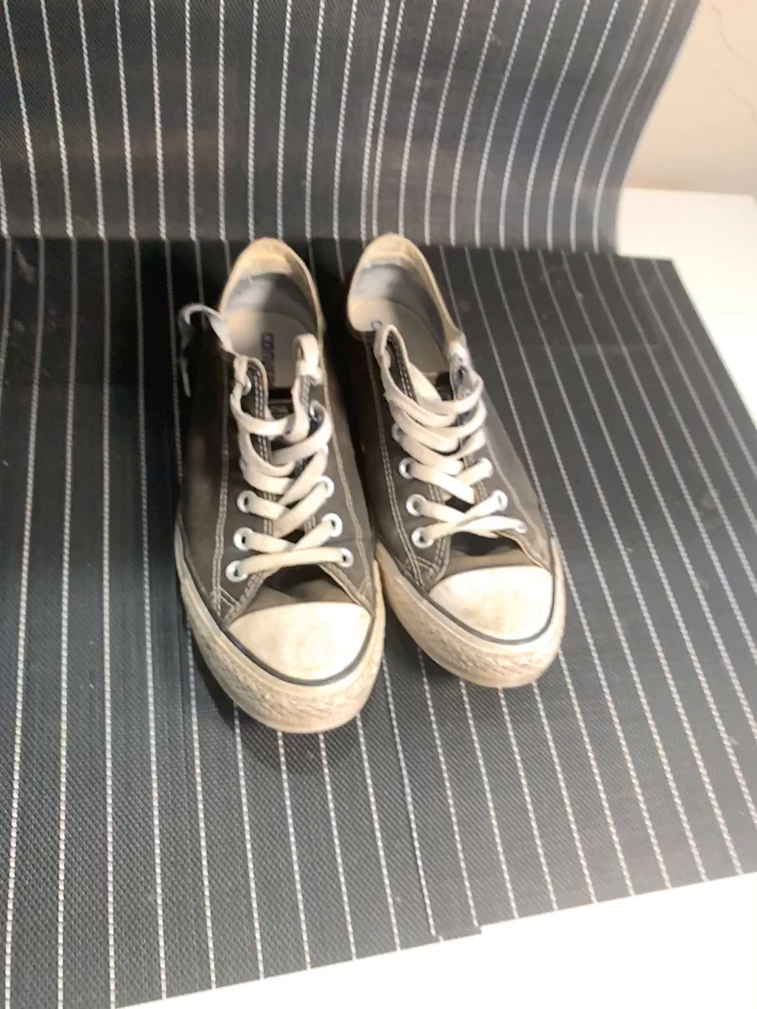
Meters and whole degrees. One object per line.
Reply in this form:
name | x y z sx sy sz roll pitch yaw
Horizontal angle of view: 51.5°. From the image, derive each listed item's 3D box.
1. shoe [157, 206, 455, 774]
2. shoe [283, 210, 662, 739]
shoe | -0.055 -0.026 0.423 0.110 0.080 0.301 -3 59 -15
shoe | 0.033 -0.036 0.453 0.110 0.080 0.301 -8 60 -17
